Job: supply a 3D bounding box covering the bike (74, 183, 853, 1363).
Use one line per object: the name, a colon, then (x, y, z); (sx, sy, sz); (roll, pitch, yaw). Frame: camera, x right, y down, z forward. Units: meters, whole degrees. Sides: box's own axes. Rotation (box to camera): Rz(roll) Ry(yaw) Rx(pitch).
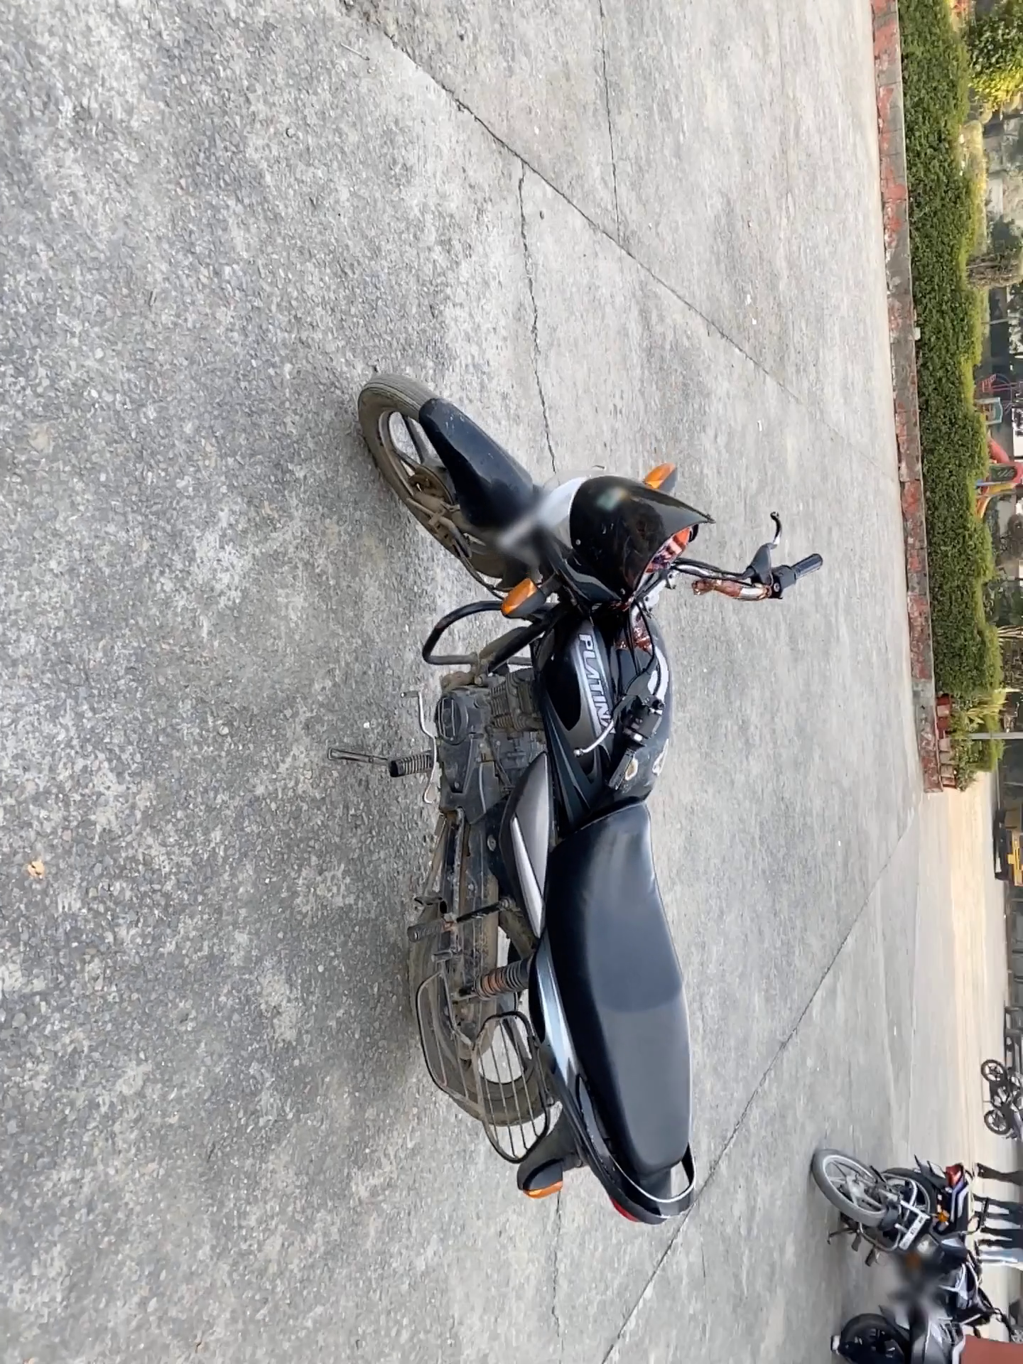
bike: (-0.017, 0.193, 2.046); (0.776, 1.077, 1.738); (-17, 102, -64)
